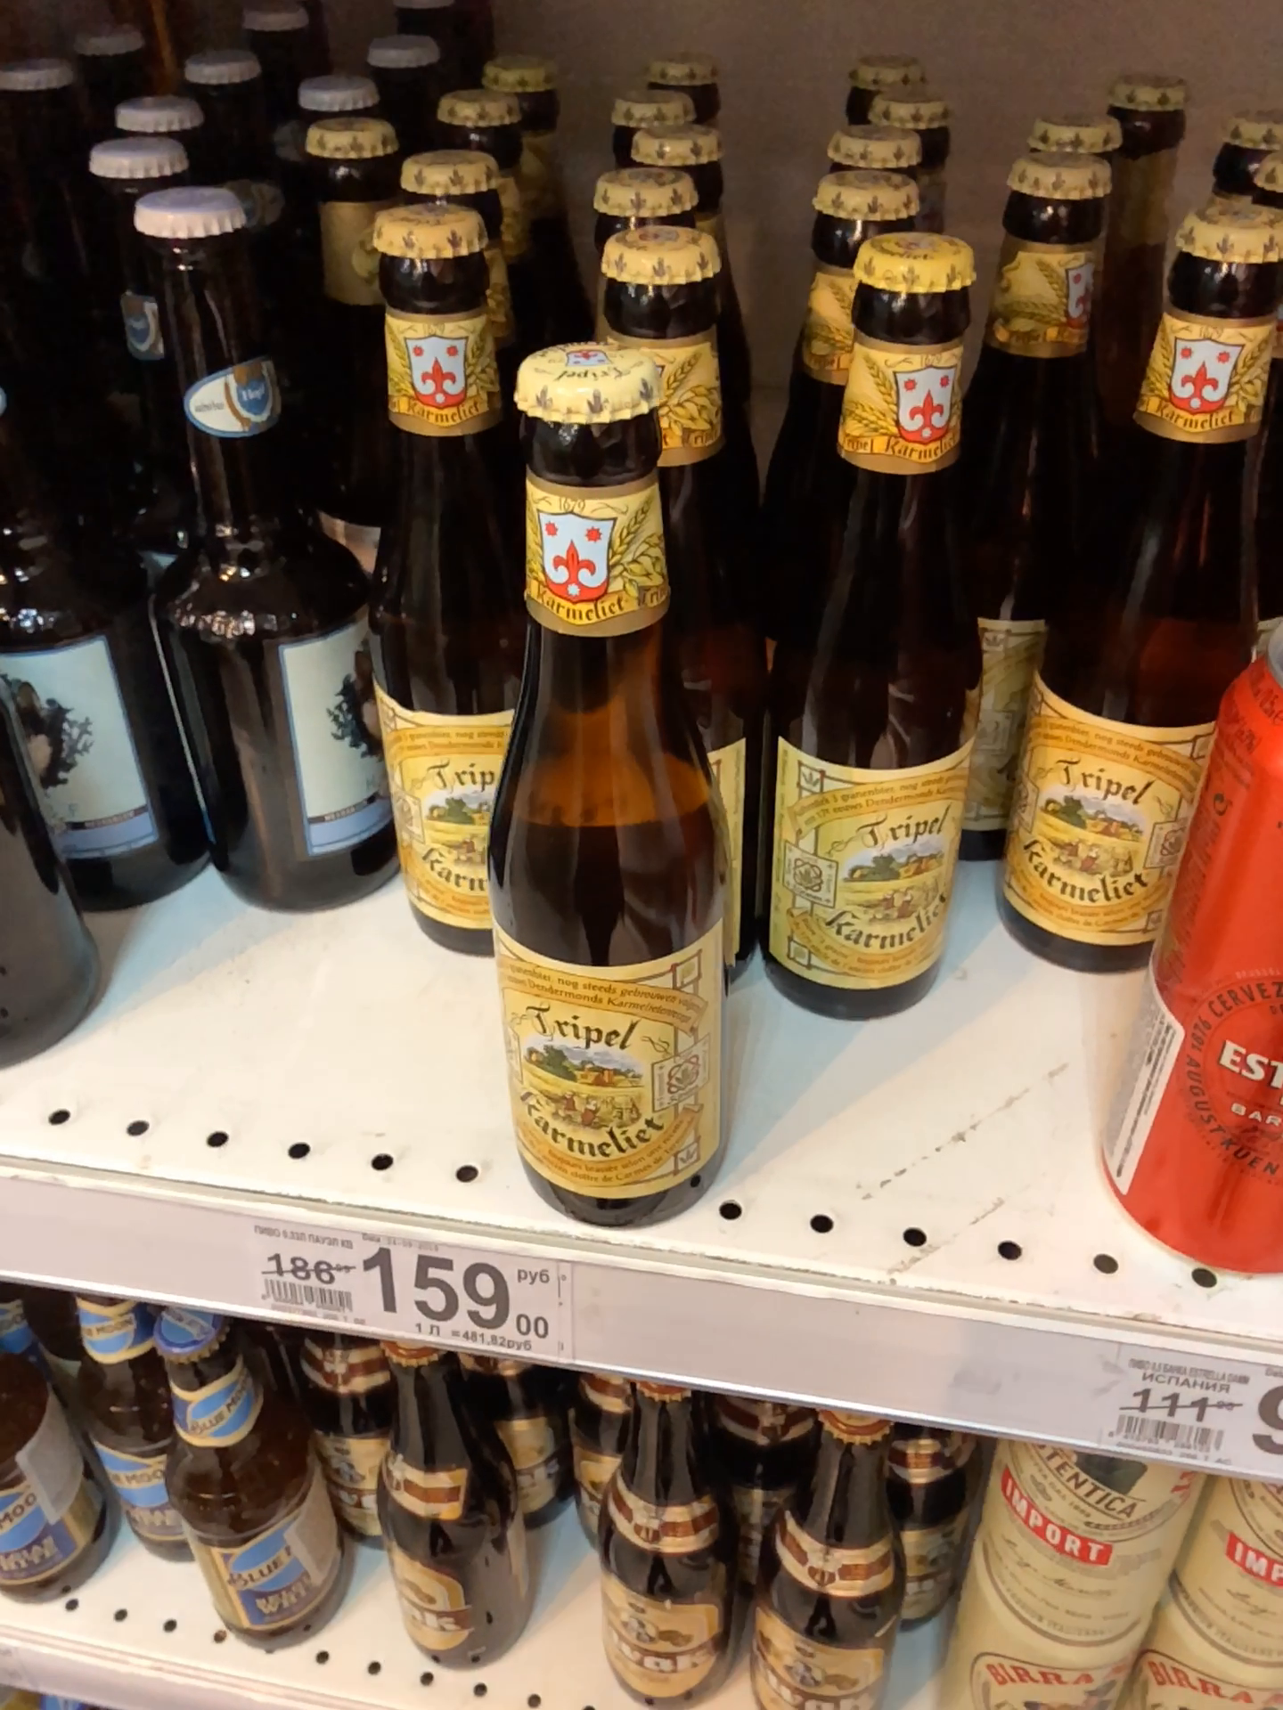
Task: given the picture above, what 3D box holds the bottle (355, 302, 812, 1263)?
[{"bbox_3d":[-0.007,-0.006,0.336,0.070,0.219,0.070,-1,38,0],"label":"bottle"}]
